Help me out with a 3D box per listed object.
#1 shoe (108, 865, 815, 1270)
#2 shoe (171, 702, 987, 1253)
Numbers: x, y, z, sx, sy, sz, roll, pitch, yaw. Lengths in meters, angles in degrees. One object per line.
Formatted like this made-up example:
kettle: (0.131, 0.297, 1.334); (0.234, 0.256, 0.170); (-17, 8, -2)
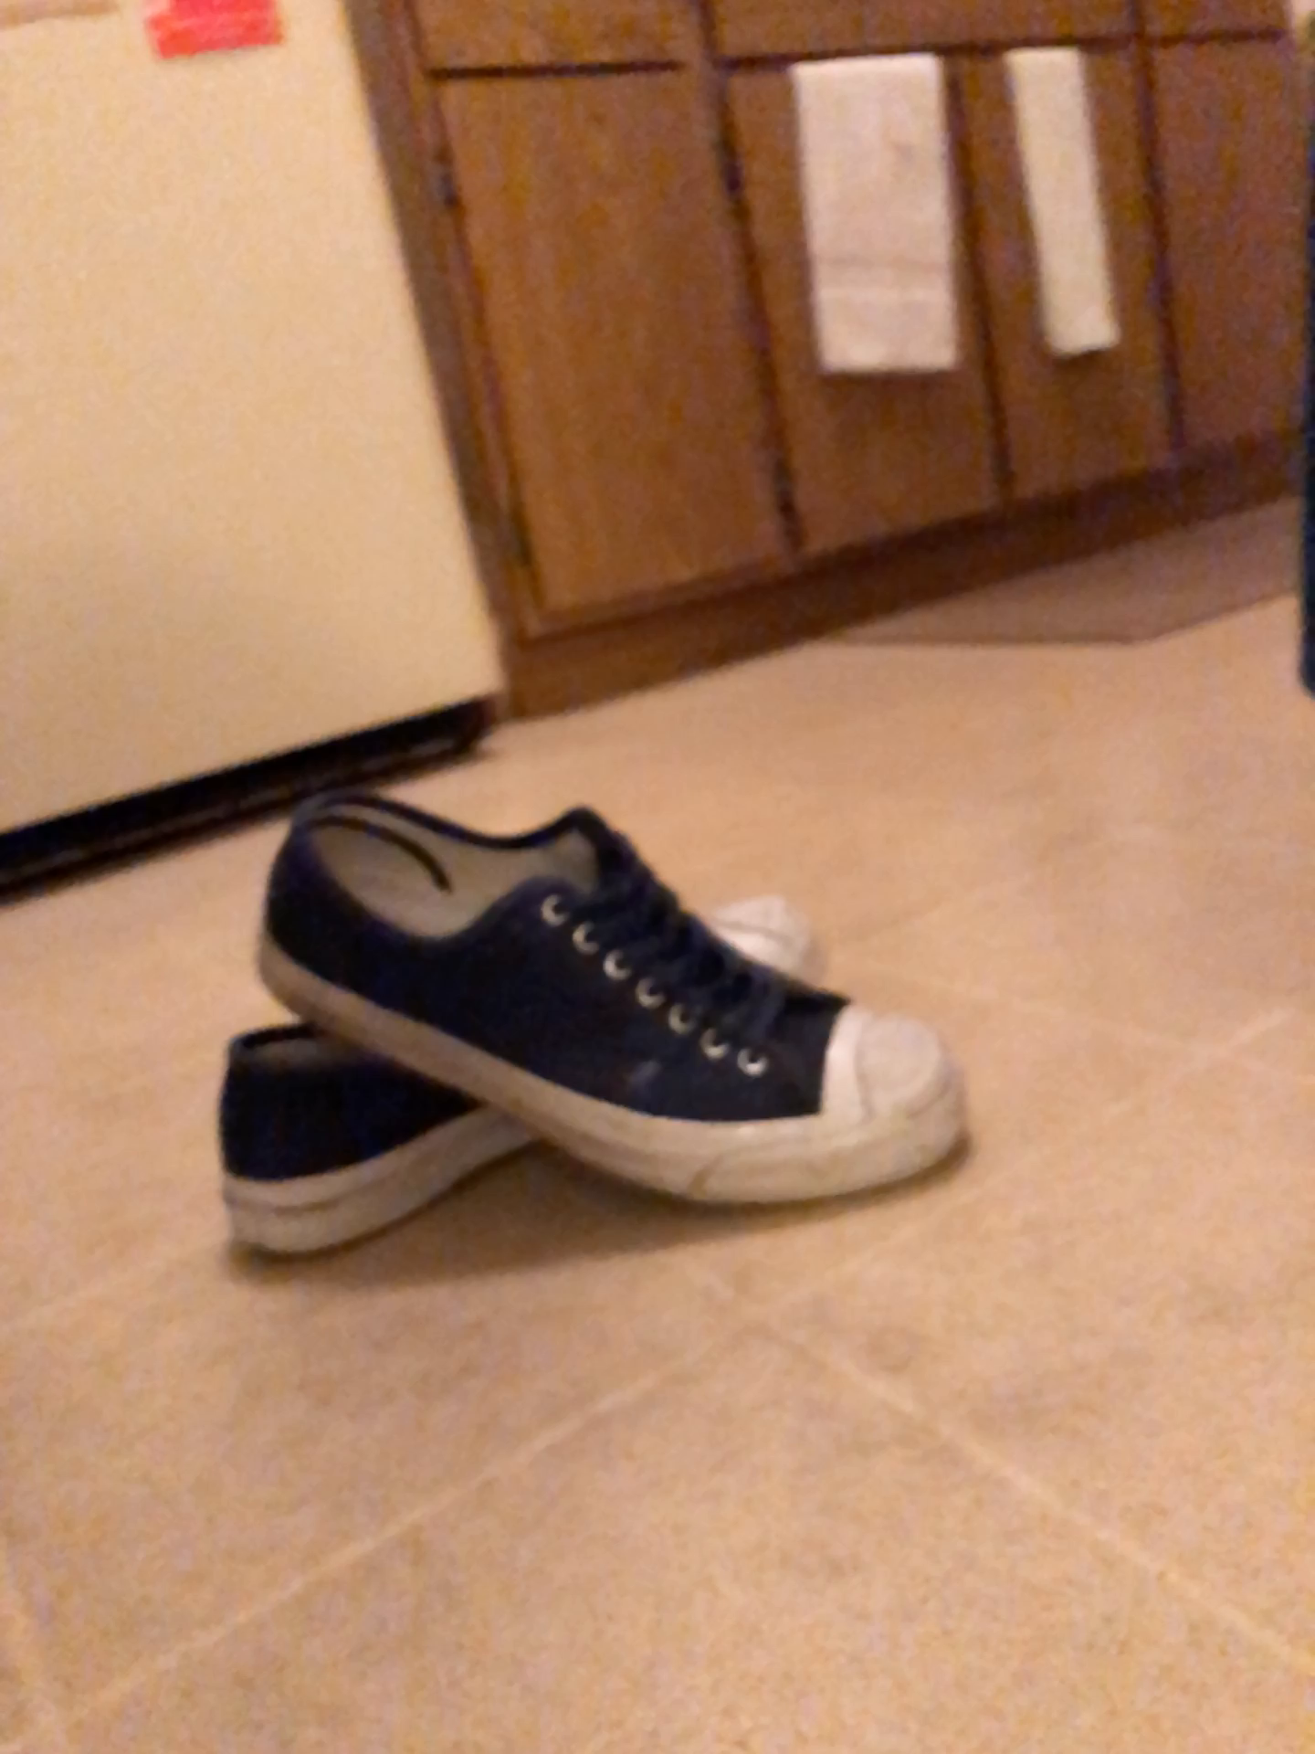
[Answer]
shoe: (-0.078, 0.070, 0.663); (0.290, 0.080, 0.110); (-13, 18, -31)
shoe: (-0.031, 0.034, 0.586); (0.290, 0.099, 0.101); (16, 40, 9)
